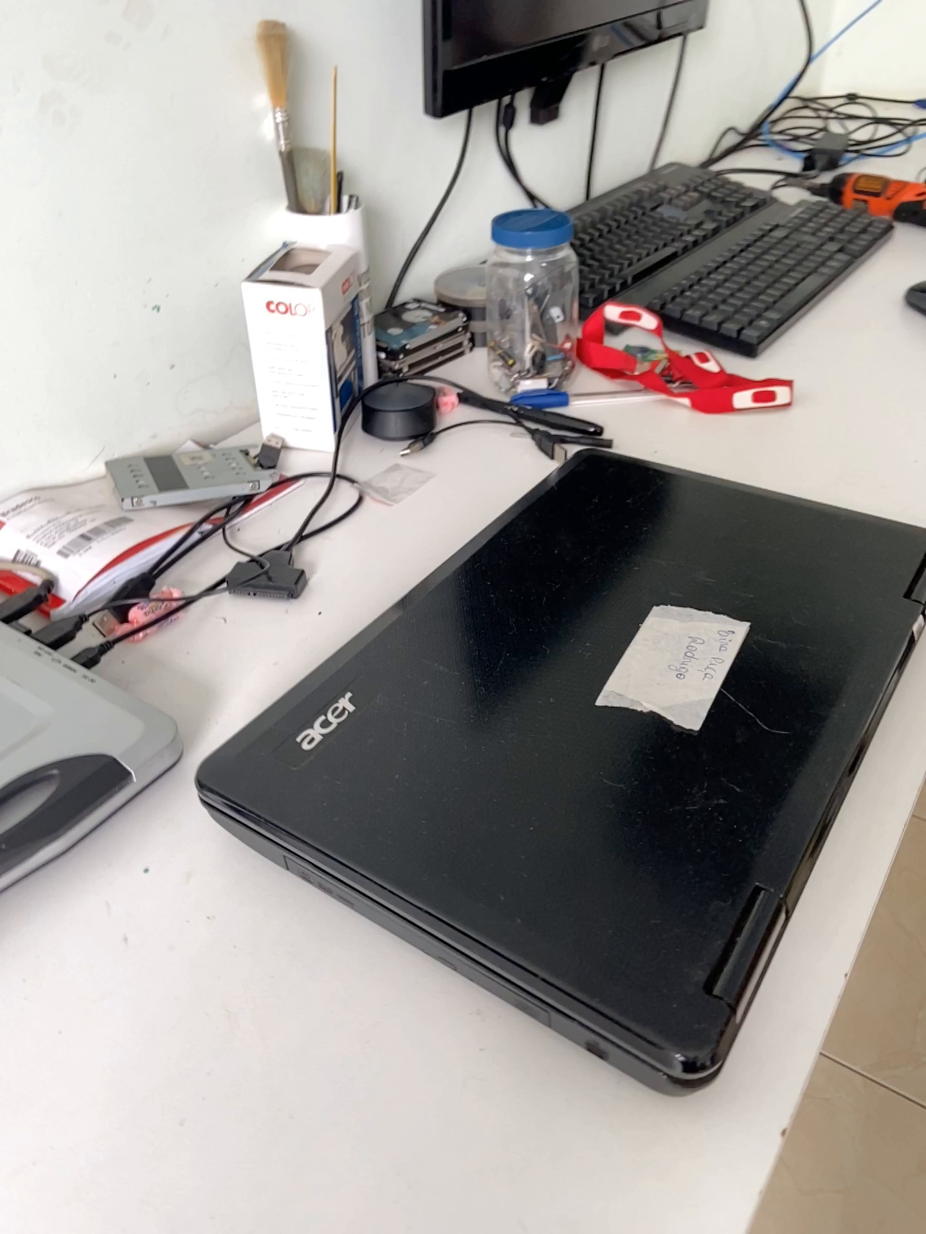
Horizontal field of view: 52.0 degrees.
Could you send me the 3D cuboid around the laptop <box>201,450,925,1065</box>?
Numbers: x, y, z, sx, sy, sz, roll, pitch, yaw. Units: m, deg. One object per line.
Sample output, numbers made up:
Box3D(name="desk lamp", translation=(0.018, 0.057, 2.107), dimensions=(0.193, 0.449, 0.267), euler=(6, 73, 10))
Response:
Box3D(name="laptop", translation=(0.081, 0.017, 0.486), dimensions=(0.239, 0.005, 0.358), euler=(21, 43, 28))
